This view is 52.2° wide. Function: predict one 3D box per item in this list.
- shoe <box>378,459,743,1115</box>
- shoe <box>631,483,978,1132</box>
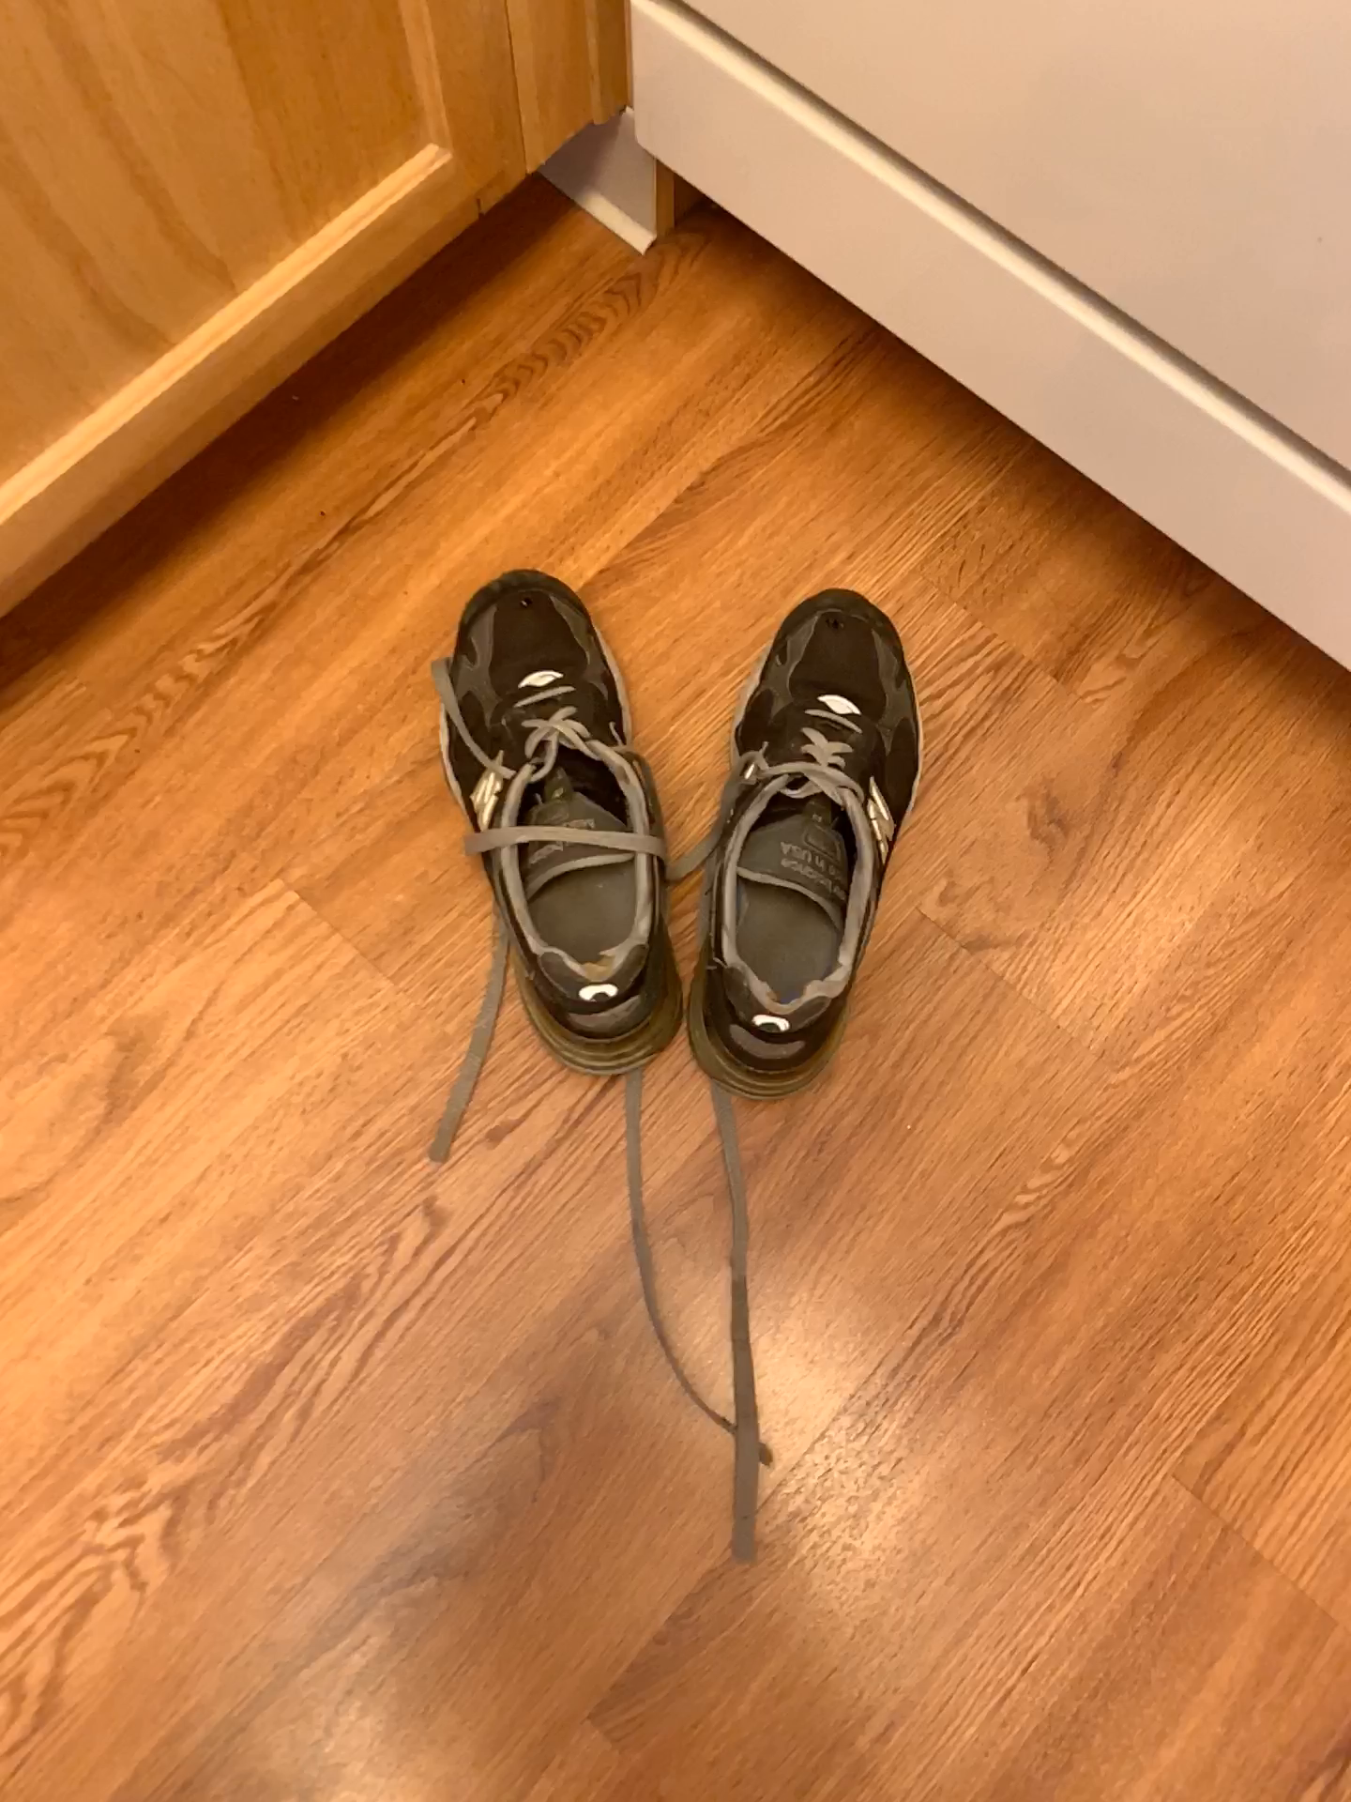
[{"bbox_3d":[-0.060,-0.059,0.701,0.120,0.100,0.300,-11,72,-4],"label":"shoe"},{"bbox_3d":[0.067,-0.049,0.706,0.120,0.100,0.300,10,72,3],"label":"shoe"}]
